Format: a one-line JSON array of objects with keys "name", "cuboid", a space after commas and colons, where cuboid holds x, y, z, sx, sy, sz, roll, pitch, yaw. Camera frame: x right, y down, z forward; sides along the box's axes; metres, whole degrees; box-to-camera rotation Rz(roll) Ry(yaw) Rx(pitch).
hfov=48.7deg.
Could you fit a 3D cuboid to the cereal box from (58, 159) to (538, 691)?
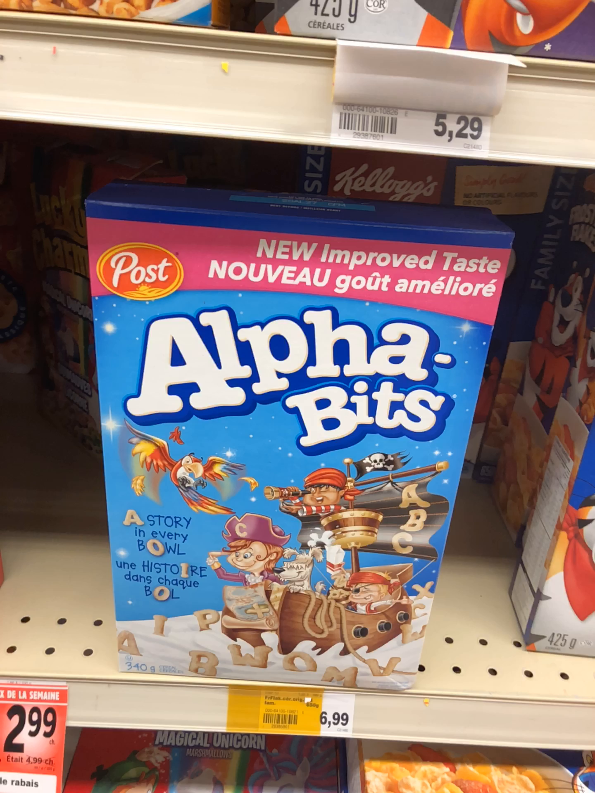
[{"name": "cereal box", "cuboid": [-0.011, 0.035, 0.372, 0.200, 0.298, 0.060, 5, 29, -1]}]
